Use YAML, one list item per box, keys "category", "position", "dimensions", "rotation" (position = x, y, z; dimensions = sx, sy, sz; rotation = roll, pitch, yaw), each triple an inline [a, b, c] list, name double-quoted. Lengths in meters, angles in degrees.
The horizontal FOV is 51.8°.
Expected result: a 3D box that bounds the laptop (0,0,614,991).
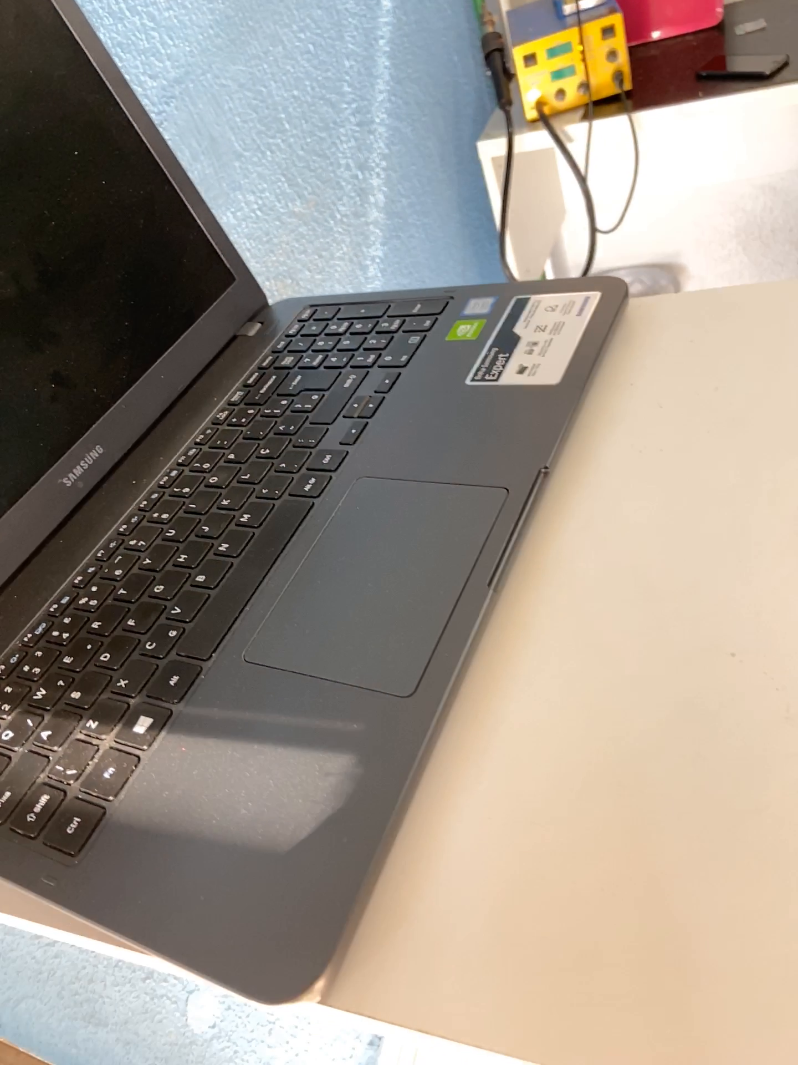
- category: "laptop"
  position: [-0.118, -0.098, 0.335]
  dimensions: [0.287, 0.232, 0.372]
  rotation: [5, 48, 30]
